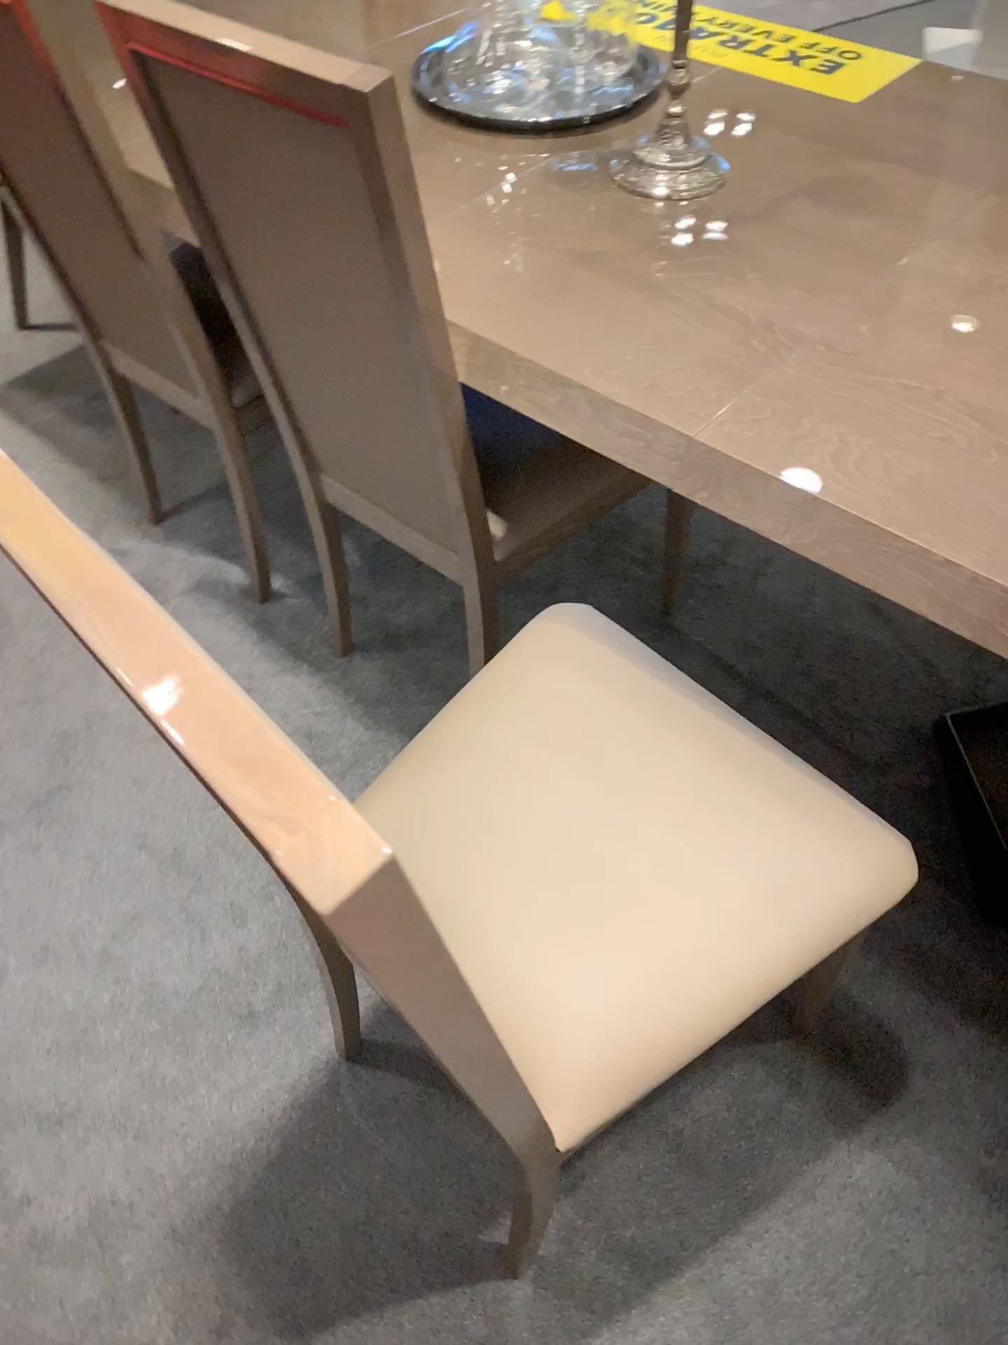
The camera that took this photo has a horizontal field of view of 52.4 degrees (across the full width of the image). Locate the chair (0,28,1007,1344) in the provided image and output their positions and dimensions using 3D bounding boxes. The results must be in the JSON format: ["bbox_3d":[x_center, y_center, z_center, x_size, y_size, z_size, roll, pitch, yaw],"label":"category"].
[{"bbox_3d":[0.033,0.121,0.909,0.583,0.977,0.501,-37,57,-22],"label":"chair"}]
